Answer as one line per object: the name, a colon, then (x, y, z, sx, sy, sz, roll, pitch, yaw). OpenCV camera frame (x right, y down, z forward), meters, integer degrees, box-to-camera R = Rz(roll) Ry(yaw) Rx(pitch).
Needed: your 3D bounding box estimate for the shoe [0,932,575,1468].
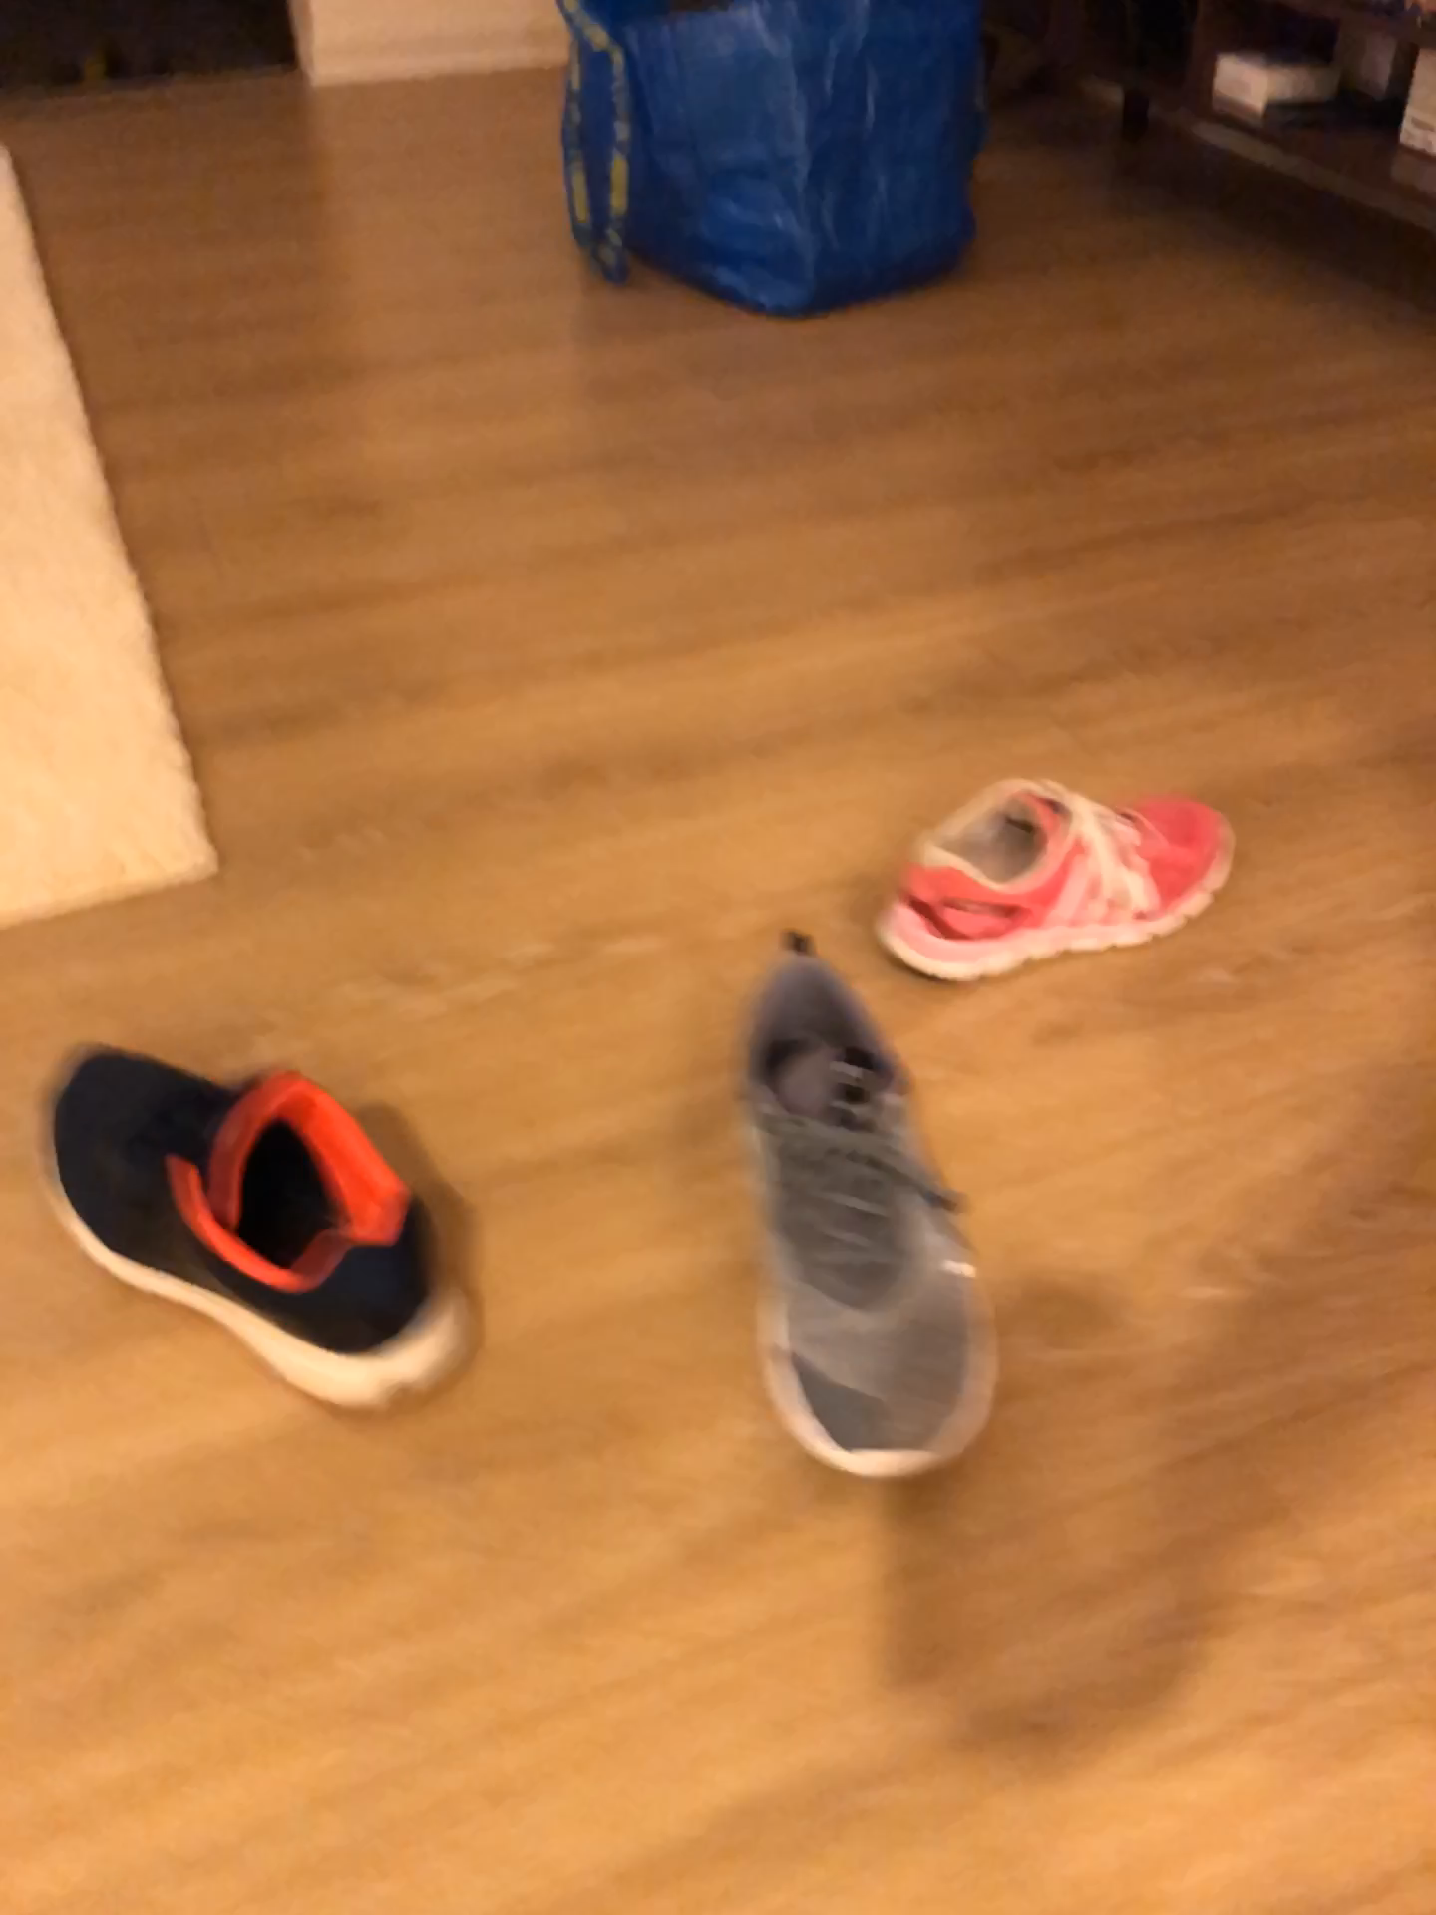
shoe: (-0.245, 0.116, 0.851, 0.320, 0.099, 0.131, 24, 46, 26)

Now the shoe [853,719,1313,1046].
shoe: (0.246, -0.057, 1.085, 0.281, 0.099, 0.120, -19, 43, -21)

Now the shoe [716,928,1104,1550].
shoe: (0.083, 0.129, 0.833, 0.130, 0.099, 0.322, -4, 40, -5)
